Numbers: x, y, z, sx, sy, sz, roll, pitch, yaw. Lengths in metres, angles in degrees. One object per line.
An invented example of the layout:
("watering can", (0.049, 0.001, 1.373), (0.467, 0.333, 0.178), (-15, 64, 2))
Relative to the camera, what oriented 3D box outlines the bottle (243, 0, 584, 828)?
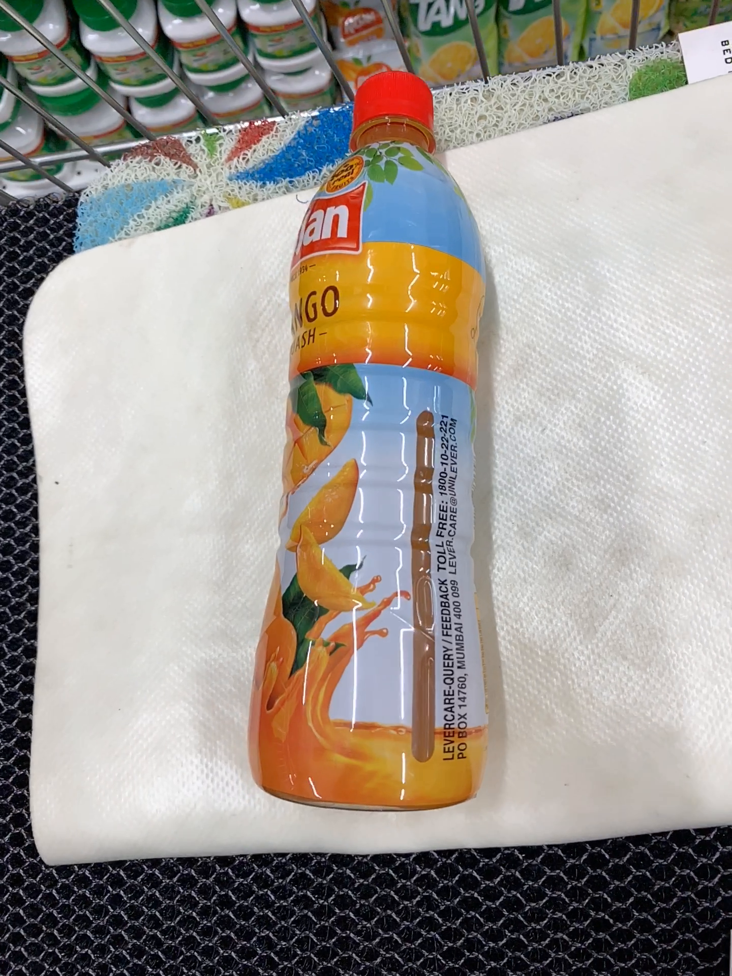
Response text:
("bottle", (0.009, -0.029, 0.238), (0.080, 0.070, 0.230), (1, 84, -21))
